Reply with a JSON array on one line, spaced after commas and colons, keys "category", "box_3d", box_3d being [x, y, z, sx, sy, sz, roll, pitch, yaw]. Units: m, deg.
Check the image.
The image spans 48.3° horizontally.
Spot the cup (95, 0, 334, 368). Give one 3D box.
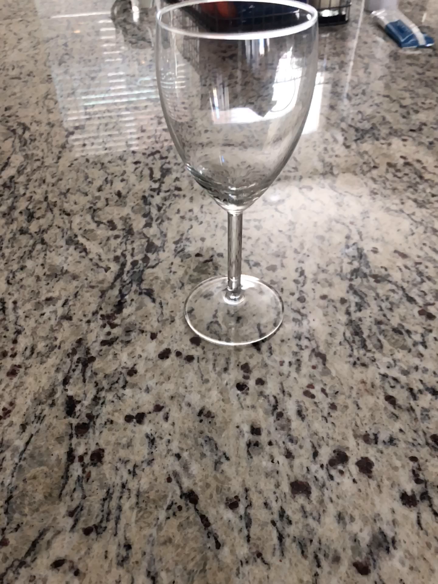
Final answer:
[{"category": "cup", "box_3d": [0.004, -0.053, 0.258, 0.080, 0.169, 0.081, 0, 41, 0]}]
